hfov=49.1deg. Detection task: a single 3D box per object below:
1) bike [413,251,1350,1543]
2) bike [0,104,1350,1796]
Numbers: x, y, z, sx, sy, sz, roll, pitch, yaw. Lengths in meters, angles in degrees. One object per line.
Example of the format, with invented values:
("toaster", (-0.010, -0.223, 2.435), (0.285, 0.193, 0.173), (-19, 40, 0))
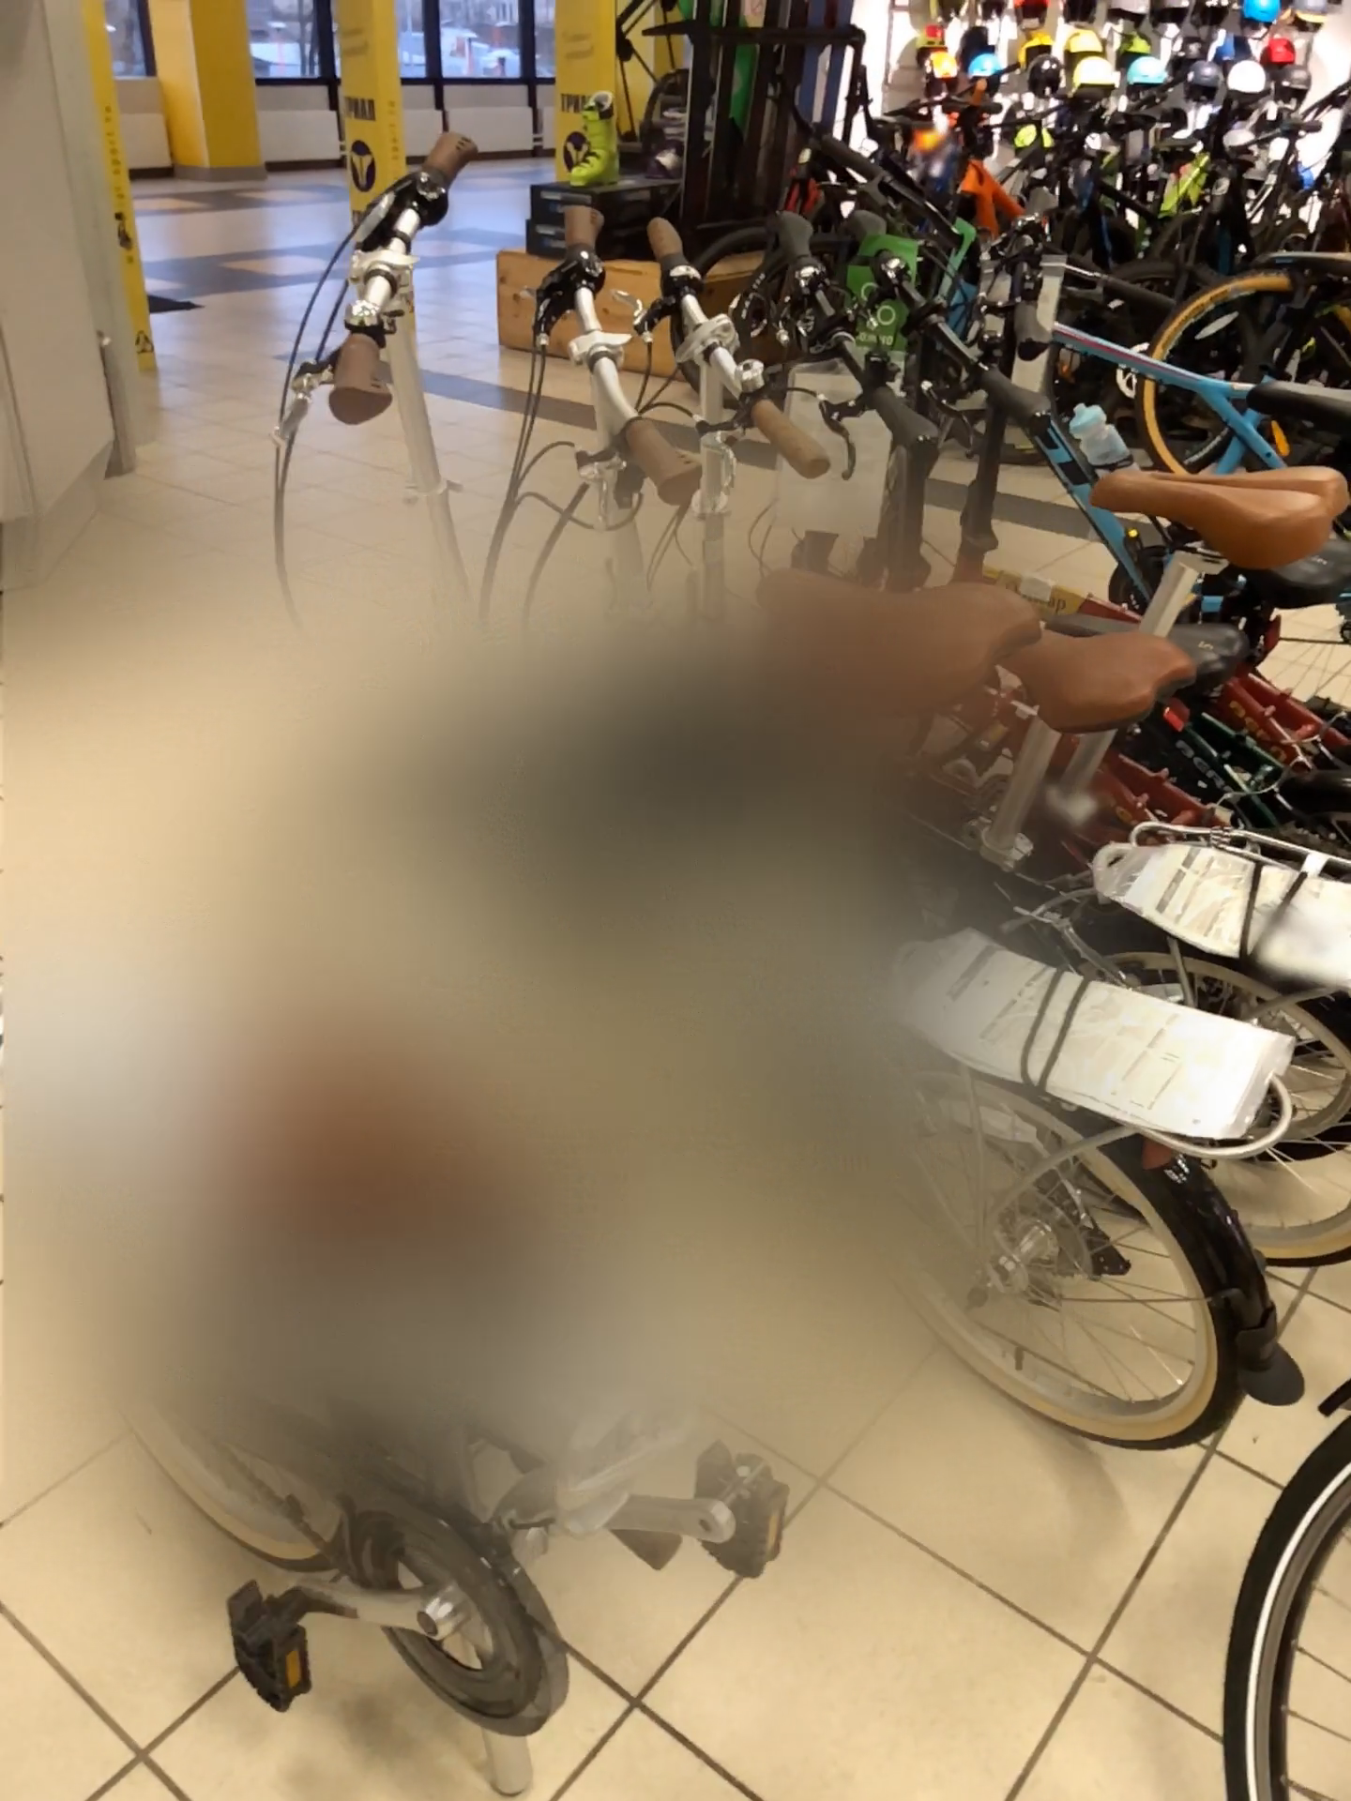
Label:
("bike", (0.313, -0.118, 1.682), (1.141, 1.036, 0.558), (20, 34, 31))
("bike", (-0.040, -0.104, 1.496), (1.361, 1.152, 0.554), (24, 36, 33))
